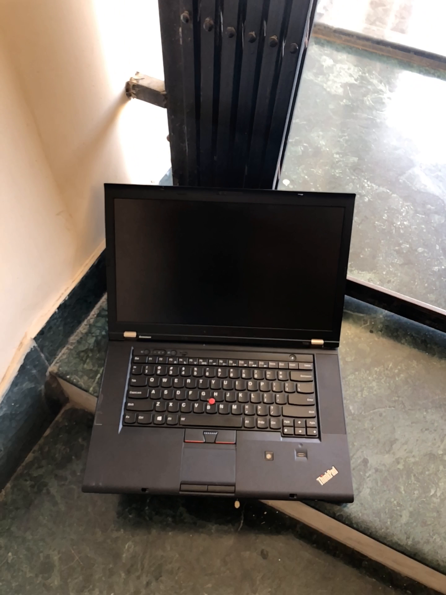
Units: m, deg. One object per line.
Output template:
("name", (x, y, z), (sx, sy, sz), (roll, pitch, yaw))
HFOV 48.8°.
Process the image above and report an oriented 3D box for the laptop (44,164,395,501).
("laptop", (0.001, 0.040, 0.673), (0.359, 0.181, 0.389), (2, 59, 0))
